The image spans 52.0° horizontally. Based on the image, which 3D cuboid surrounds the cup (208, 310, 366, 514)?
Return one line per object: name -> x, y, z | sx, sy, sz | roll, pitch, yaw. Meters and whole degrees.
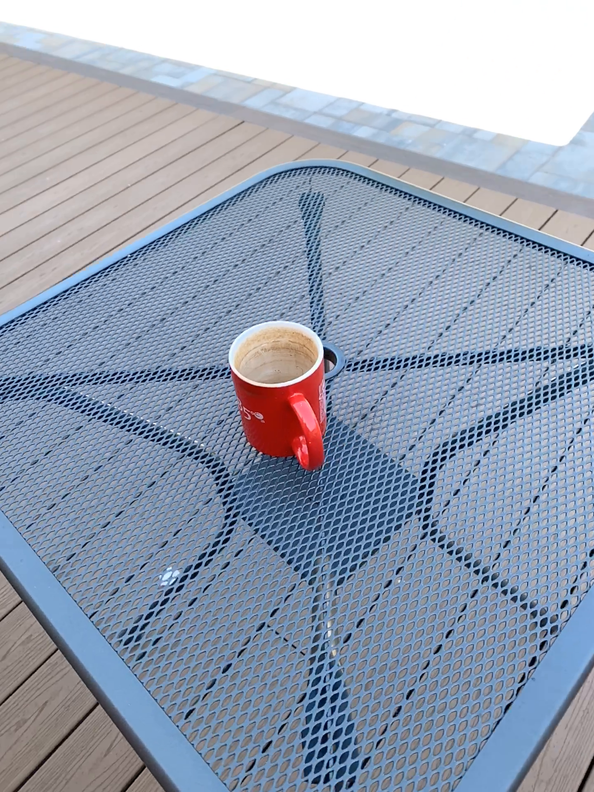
cup -> -0.008, 0.012, 0.553 | 0.090, 0.100, 0.131 | -21, 49, -12
